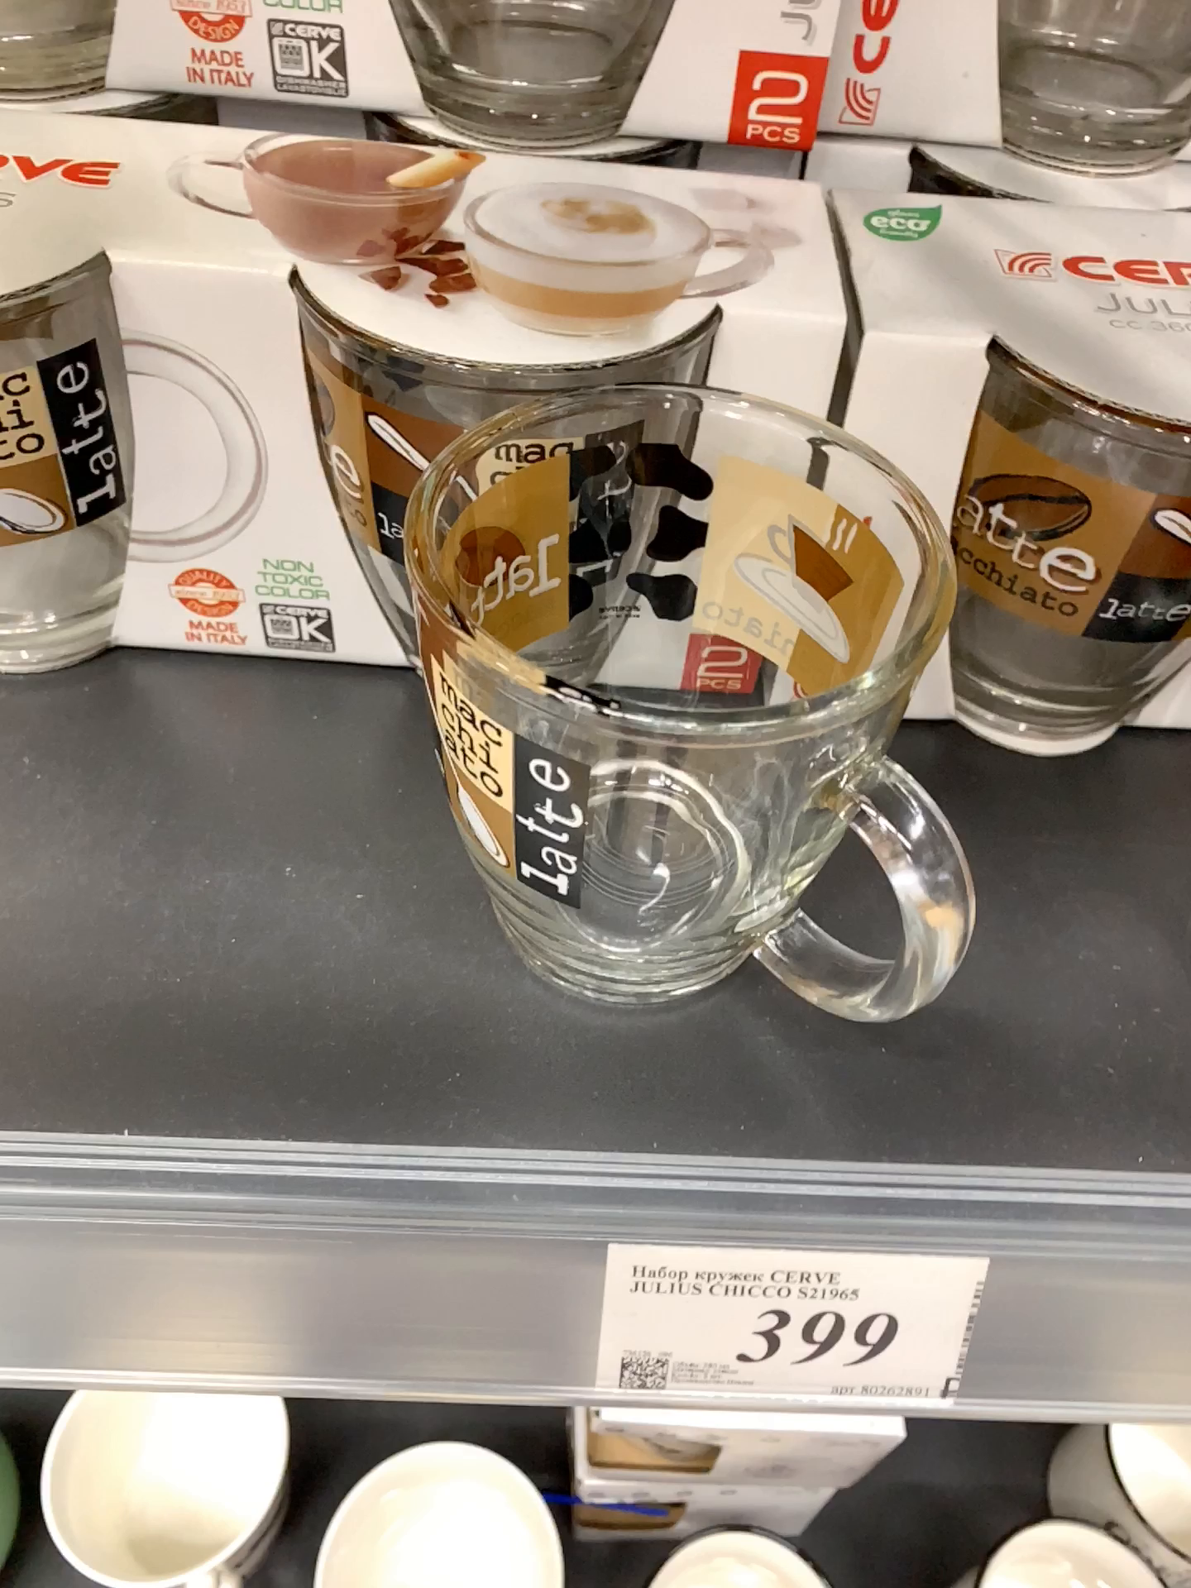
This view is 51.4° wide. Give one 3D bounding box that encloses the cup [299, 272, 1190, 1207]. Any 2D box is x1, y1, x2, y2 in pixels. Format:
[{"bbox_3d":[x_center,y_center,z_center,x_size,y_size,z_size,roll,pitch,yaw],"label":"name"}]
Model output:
[{"bbox_3d":[0.017,-0.016,0.218,0.084,0.086,0.118,-25,56,-24],"label":"cup"}]
